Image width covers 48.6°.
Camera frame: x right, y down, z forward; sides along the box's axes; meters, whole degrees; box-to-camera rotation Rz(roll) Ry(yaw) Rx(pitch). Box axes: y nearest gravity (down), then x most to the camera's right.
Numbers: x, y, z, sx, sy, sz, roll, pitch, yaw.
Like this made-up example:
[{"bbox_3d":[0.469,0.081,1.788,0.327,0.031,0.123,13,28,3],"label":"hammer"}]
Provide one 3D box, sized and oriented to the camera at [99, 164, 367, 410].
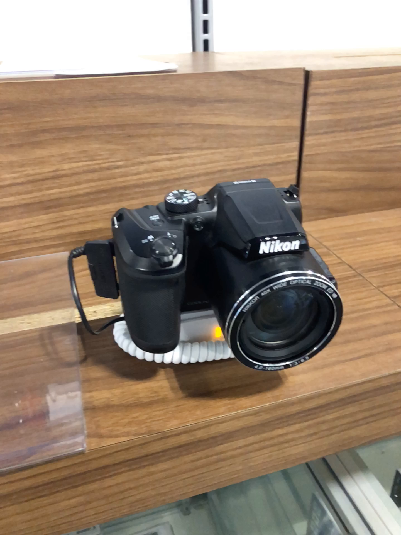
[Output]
[{"bbox_3d":[0.008,-0.001,0.251,0.110,0.079,0.111,-9,28,-13],"label":"camera"}]
